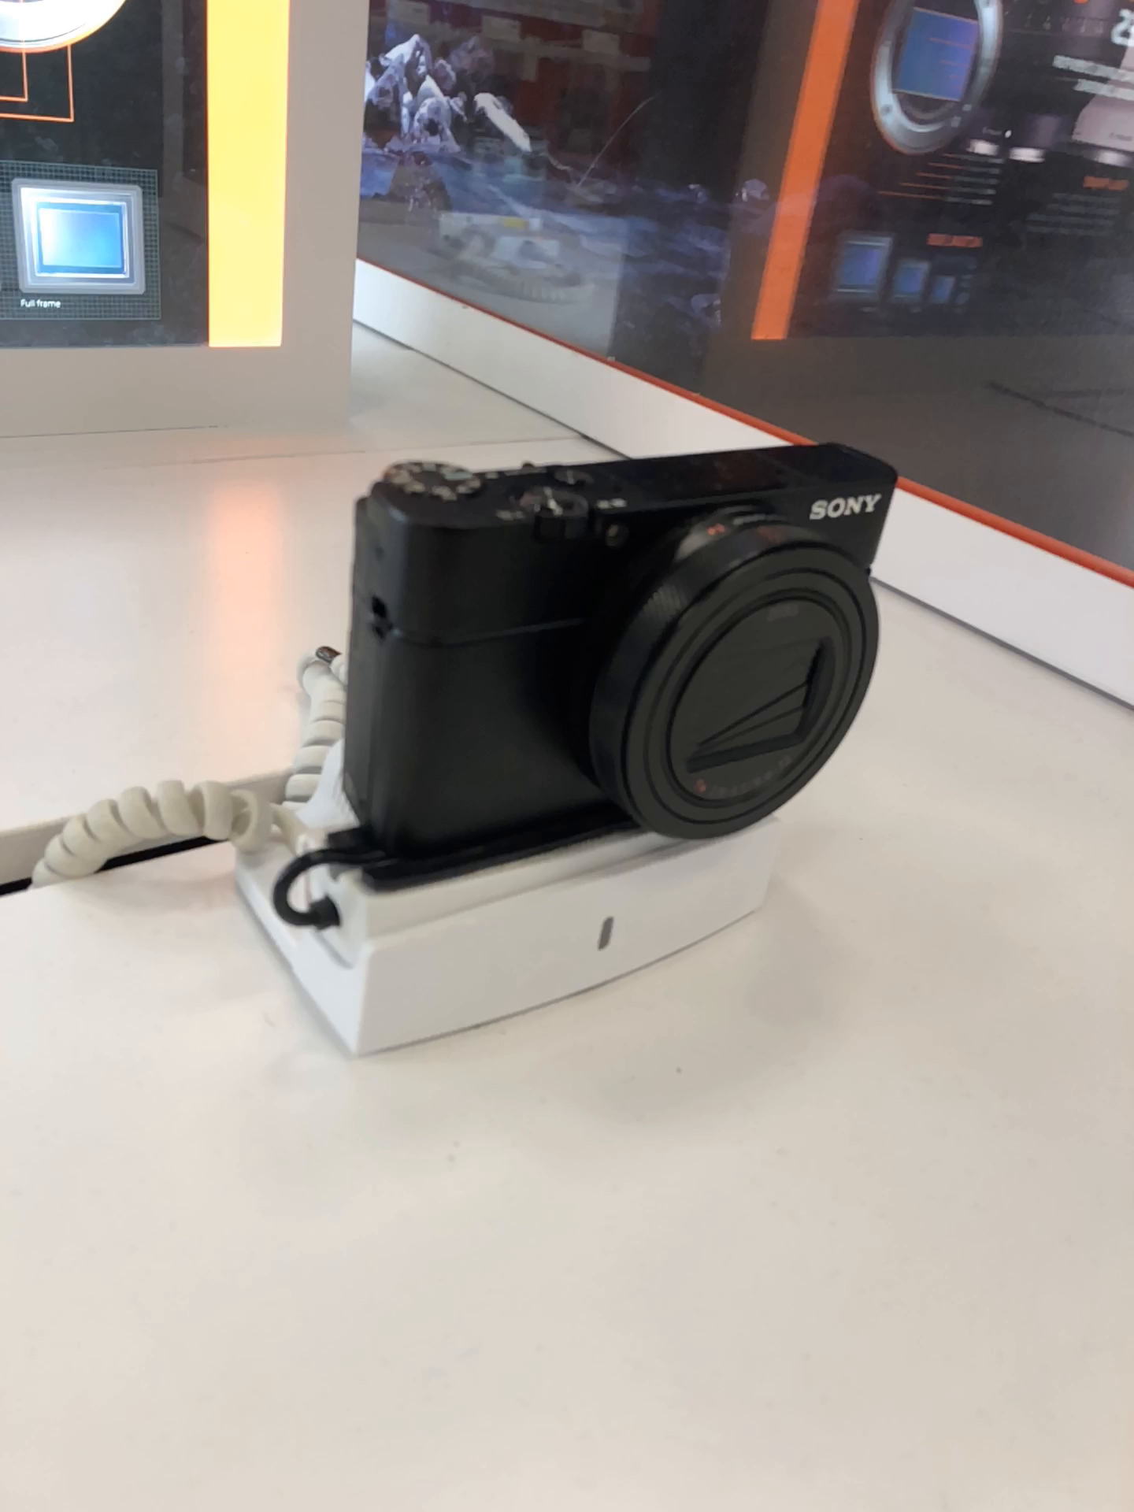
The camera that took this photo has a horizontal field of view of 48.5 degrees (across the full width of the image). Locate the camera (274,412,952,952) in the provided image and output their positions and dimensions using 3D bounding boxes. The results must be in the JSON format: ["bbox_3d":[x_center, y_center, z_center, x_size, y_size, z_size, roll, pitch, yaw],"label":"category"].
[{"bbox_3d":[0.008,-0.019,0.225,0.110,0.070,0.040,-13,35,-34],"label":"camera"}]
